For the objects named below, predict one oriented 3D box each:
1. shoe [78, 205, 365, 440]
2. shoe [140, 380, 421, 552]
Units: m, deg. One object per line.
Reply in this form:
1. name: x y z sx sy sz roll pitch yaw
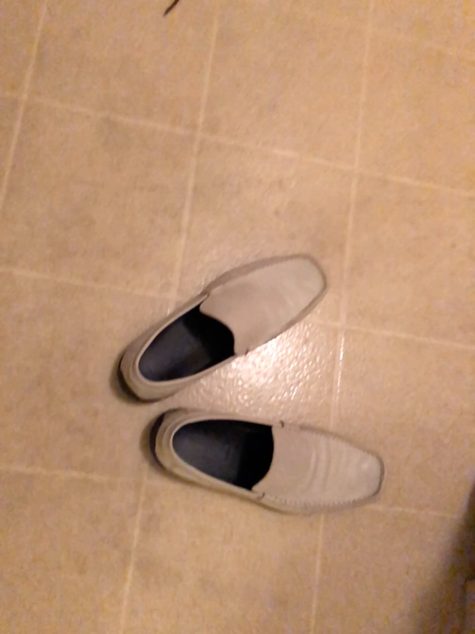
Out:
1. shoe: -0.016 0.005 0.615 0.306 0.097 0.110 -33 88 -14
2. shoe: 0.045 0.167 0.600 0.289 0.097 0.110 17 78 -8
